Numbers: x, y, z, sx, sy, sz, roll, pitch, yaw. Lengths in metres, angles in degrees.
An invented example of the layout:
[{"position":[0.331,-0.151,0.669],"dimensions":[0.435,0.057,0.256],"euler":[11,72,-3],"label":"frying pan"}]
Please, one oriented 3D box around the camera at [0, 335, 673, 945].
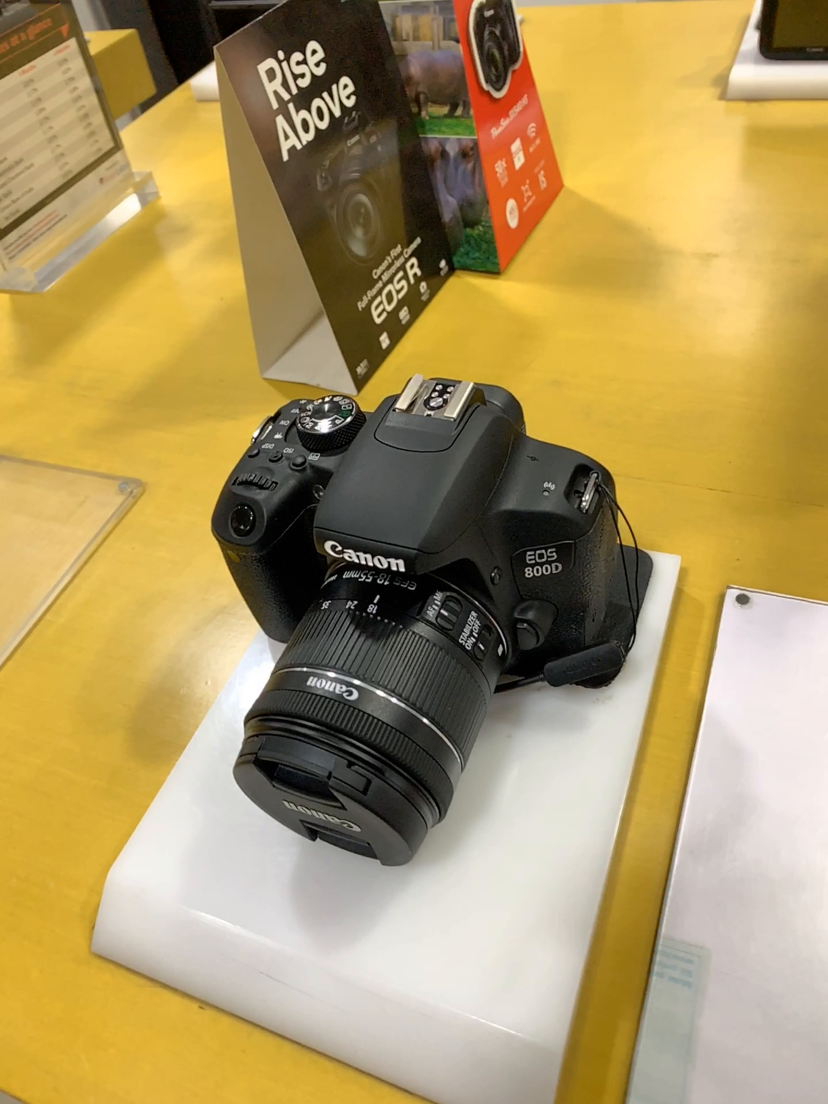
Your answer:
[{"position":[-0.008,0.015,0.258],"dimensions":[0.140,0.090,0.130],"euler":[11,50,21],"label":"camera"}]
